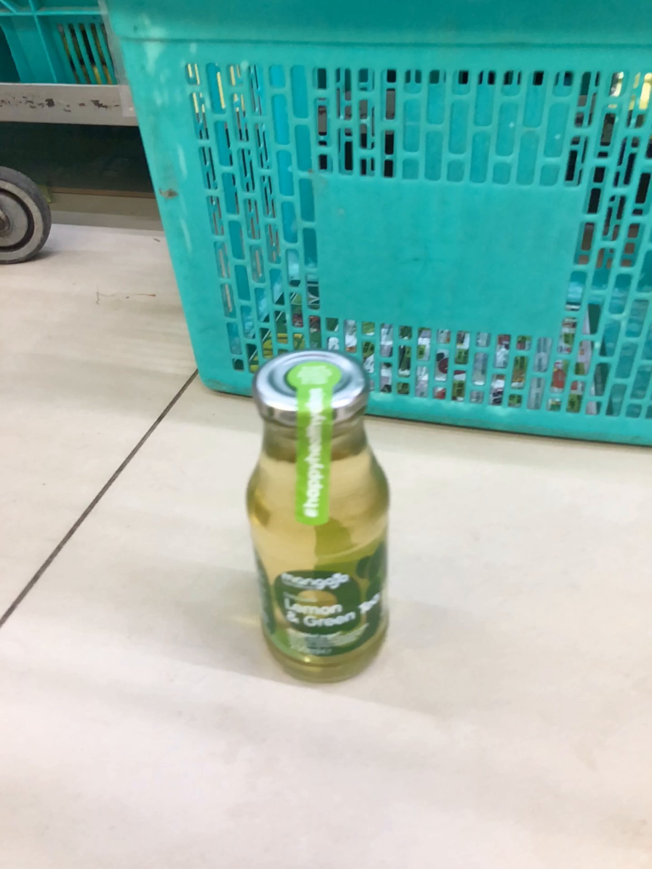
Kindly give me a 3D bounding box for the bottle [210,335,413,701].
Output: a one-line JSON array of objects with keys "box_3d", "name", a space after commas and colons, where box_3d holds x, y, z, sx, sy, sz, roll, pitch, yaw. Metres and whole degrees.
[{"box_3d": [0.000, 0.040, 0.319, 0.070, 0.149, 0.070, -2, 35, 1], "name": "bottle"}]
